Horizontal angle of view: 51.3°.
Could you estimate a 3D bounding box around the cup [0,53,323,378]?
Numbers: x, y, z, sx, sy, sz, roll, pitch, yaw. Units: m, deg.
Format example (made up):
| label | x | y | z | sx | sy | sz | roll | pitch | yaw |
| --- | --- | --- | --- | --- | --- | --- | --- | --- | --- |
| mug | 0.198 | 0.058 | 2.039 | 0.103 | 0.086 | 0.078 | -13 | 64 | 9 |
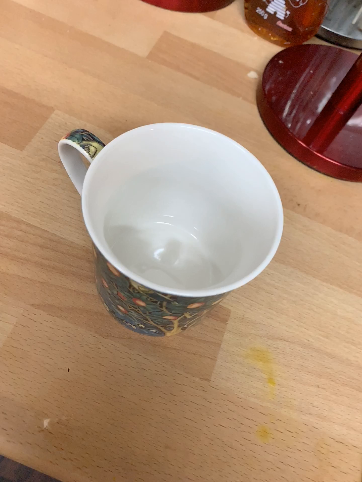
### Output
| label | x | y | z | sx | sy | sz | roll | pitch | yaw |
| --- | --- | --- | --- | --- | --- | --- | --- | --- | --- |
| cup | -0.017 | -0.009 | 0.201 | 0.120 | 0.089 | 0.090 | 39 | 62 | 8 |
